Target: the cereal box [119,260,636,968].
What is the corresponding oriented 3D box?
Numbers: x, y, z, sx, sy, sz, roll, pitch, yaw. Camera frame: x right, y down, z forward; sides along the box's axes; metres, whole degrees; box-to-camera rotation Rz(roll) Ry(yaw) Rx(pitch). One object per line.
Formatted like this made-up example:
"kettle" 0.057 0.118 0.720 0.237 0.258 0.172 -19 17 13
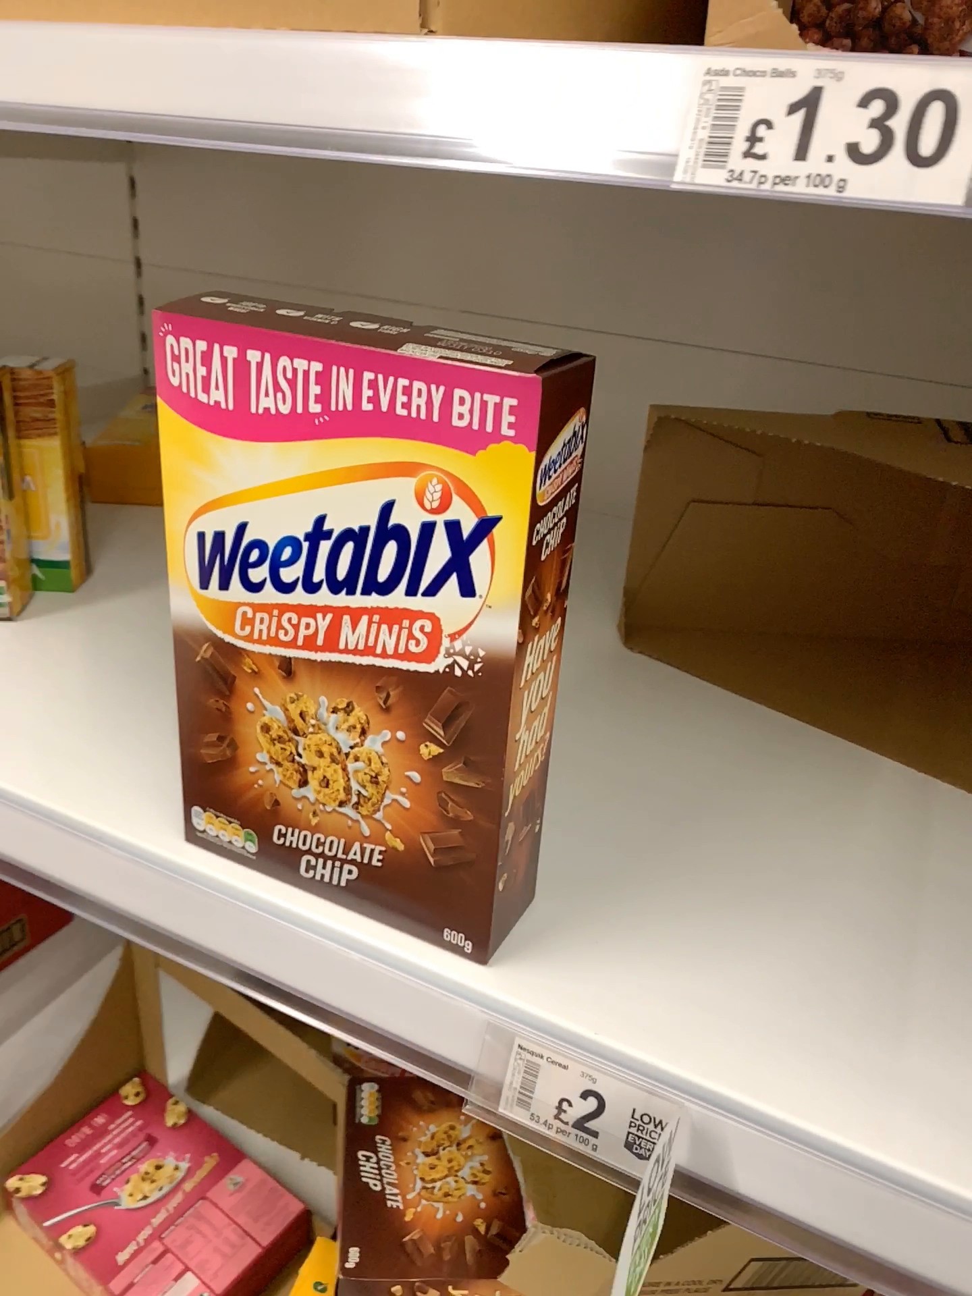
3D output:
"cereal box" -0.059 -0.018 0.479 0.210 0.287 0.071 16 28 22
